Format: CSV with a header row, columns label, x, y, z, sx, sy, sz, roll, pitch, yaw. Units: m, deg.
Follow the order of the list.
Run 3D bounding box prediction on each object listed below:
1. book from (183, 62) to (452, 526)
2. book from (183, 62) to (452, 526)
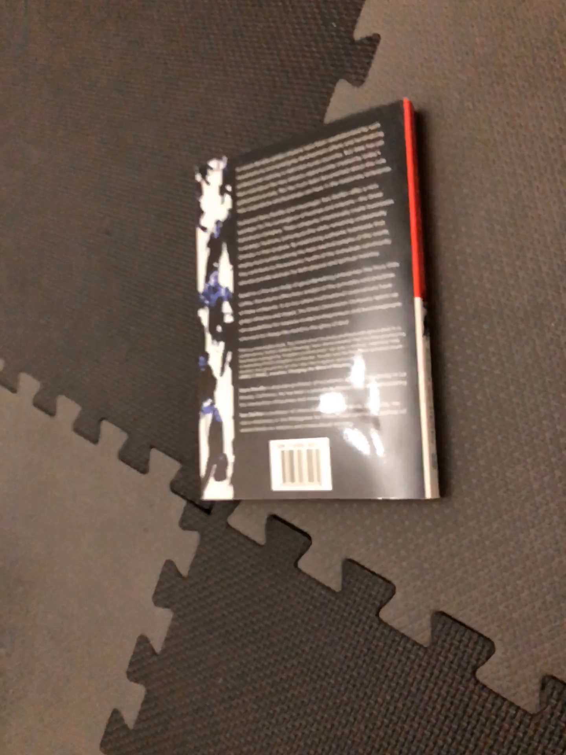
label,x,y,z,sx,sy,sz,roll,pitch,yaw
book,0.010,-0.038,0.351,0.150,0.020,0.230,-7,78,32
book,0.010,-0.038,0.351,0.150,0.020,0.230,-7,78,32
